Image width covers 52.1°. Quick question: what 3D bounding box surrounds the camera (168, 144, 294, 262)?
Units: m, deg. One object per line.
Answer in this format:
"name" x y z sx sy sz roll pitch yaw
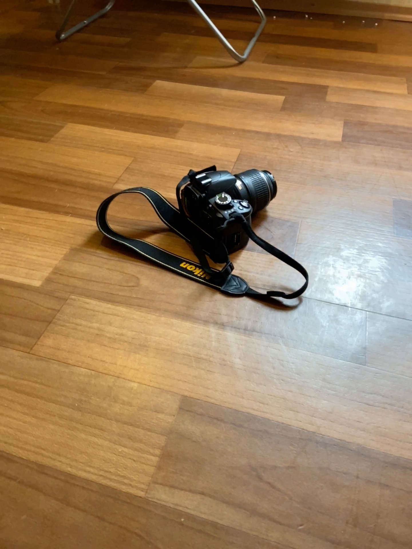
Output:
"camera" 0.038 -0.120 0.684 0.153 0.100 0.120 -27 51 -25
